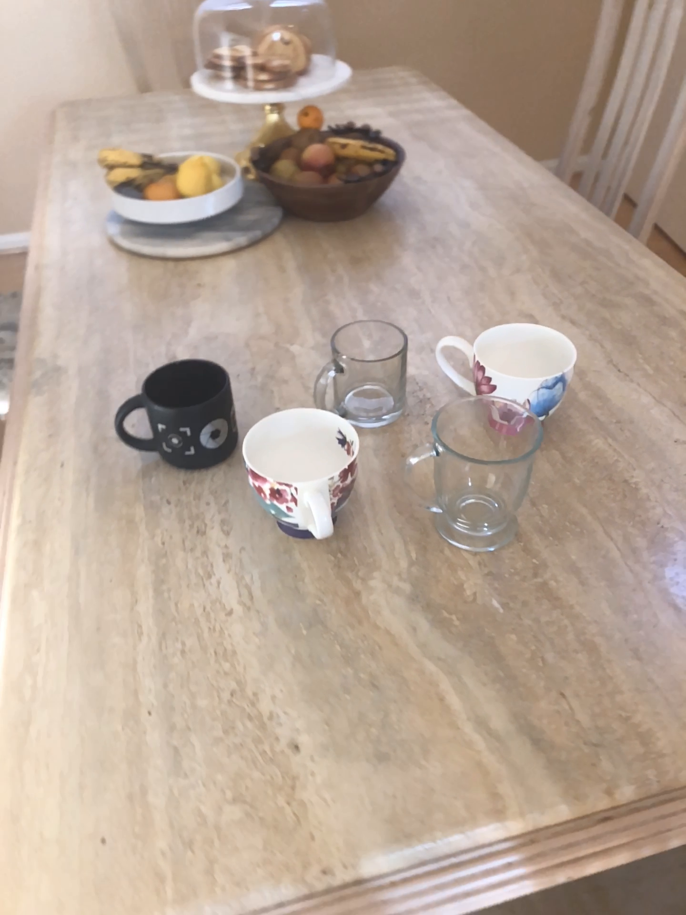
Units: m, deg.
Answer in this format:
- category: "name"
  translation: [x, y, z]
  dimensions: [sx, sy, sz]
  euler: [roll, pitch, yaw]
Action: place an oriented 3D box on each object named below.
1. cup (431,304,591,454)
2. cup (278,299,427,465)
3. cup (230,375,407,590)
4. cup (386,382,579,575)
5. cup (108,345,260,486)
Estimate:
- category: "cup"
  translation: [0.182, -0.088, 0.826]
  dimensions: [0.150, 0.099, 0.111]
  euler: [9, 42, 13]
- category: "cup"
  translation: [0.012, -0.086, 0.843]
  dimensions: [0.131, 0.119, 0.090]
  euler: [-25, 45, -24]
- category: "cup"
  translation: [-0.024, 0.018, 0.694]
  dimensions: [0.110, 0.099, 0.151]
  euler: [-16, 43, -15]
- category: "cup"
  translation: [0.120, 0.018, 0.697]
  dimensions: [0.140, 0.119, 0.101]
  euler: [-9, 41, -8]
- category: "cup"
  translation: [-0.170, -0.047, 0.816]
  dimensions: [0.140, 0.089, 0.101]
  euler: [-9, 41, -8]
